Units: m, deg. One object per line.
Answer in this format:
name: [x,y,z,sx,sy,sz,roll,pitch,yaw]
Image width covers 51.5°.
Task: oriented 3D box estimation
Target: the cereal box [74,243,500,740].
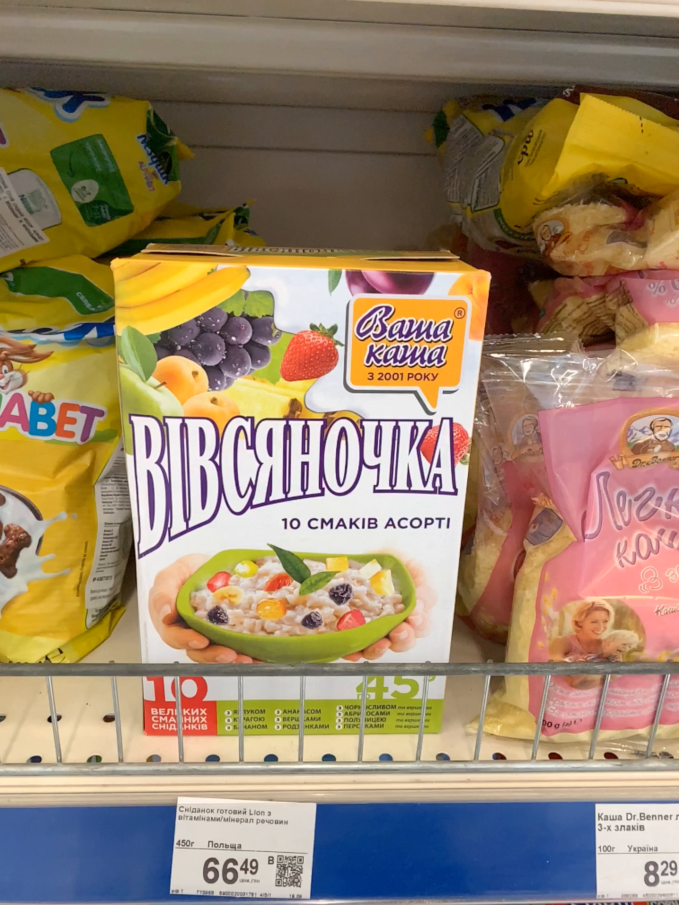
cereal box: [-0.022,0.019,0.316,0.150,0.209,0.070,1,20,-2]
